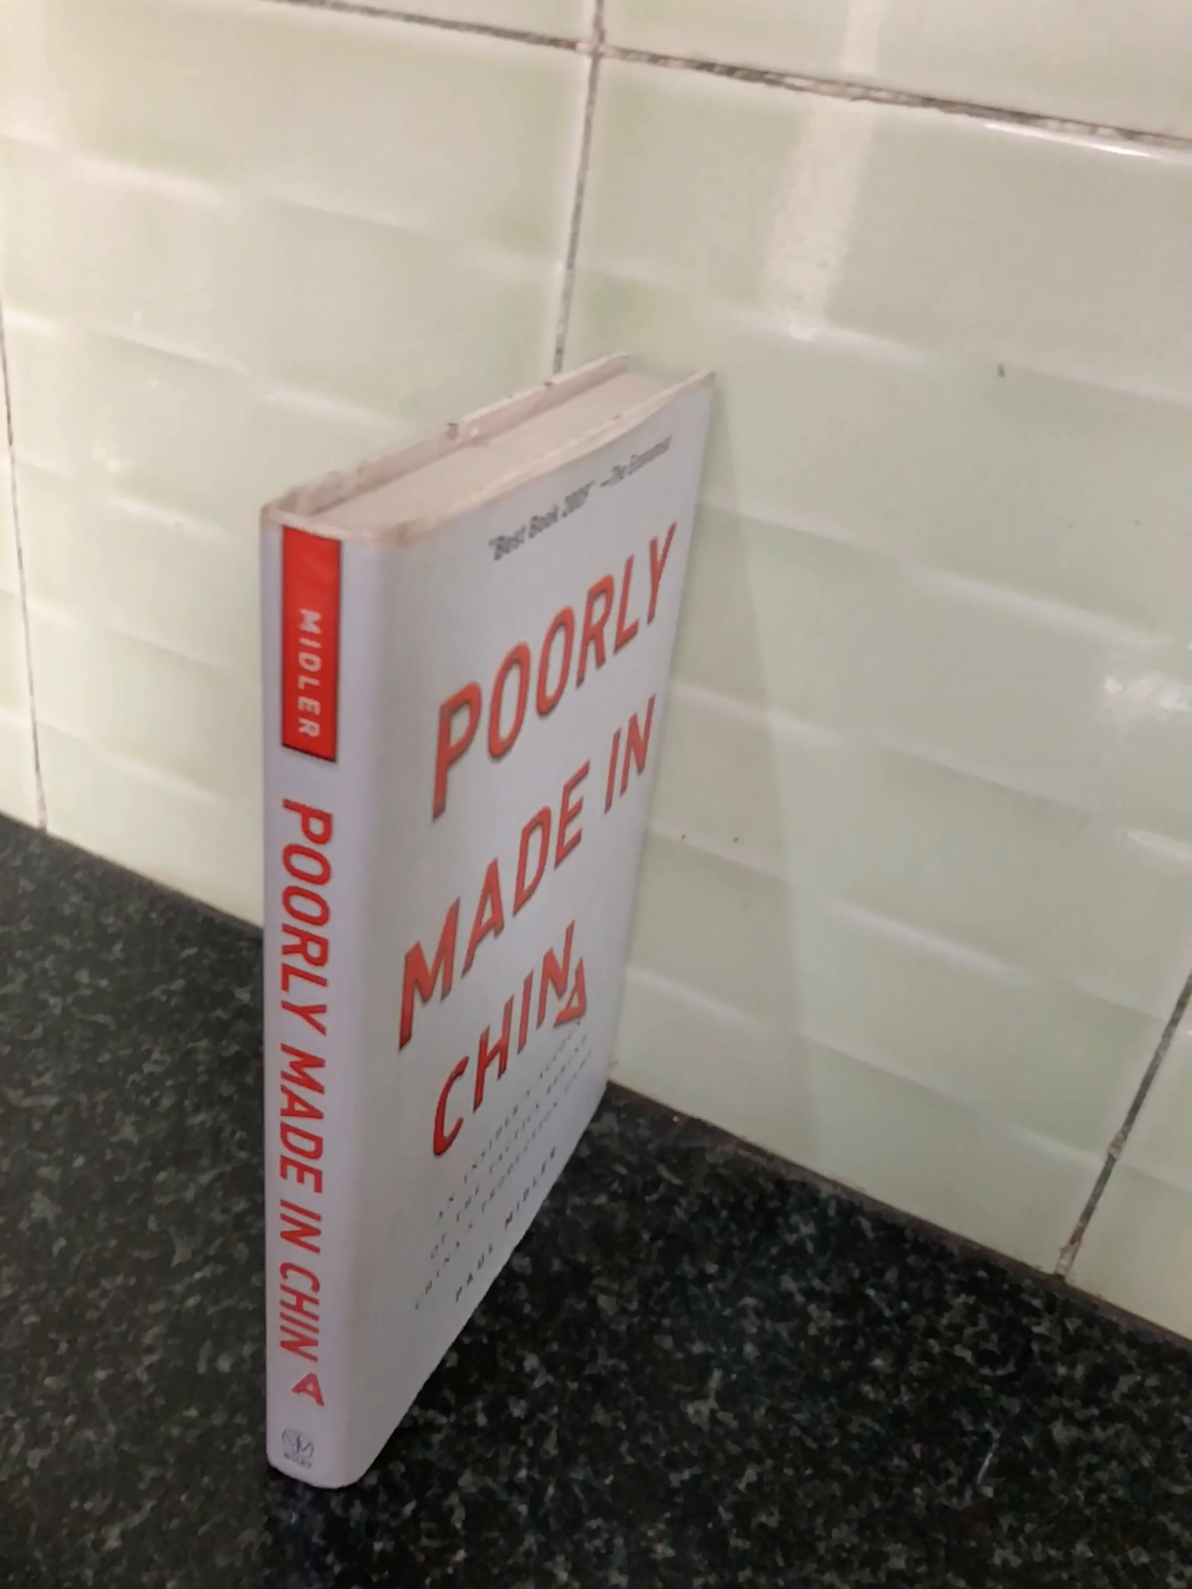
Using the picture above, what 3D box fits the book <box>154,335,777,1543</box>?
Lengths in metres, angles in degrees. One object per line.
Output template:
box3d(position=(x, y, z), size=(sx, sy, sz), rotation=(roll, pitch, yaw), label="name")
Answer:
box3d(position=(-0.023, 0.021, 0.315), size=(0.040, 0.219, 0.191), rotation=(18, 31, 15), label="book")
